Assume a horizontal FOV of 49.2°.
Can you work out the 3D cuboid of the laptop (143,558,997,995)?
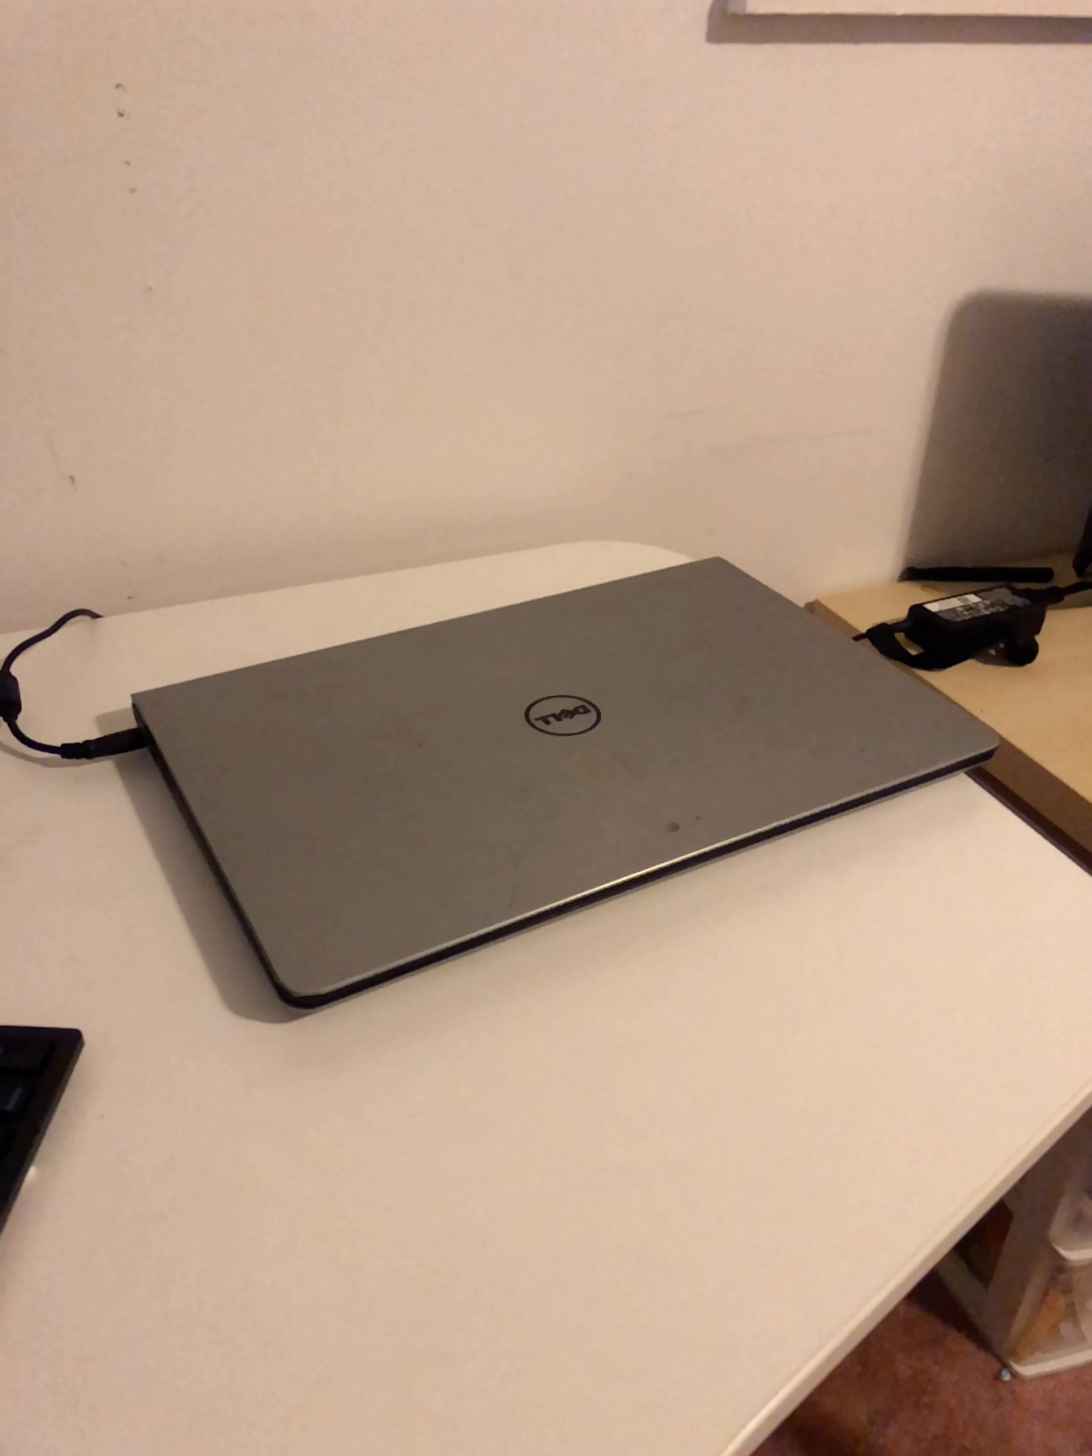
[{"bbox_3d":[0.007,-0.005,0.627,0.372,0.001,0.248,-17,37,-24],"label":"laptop"}]
